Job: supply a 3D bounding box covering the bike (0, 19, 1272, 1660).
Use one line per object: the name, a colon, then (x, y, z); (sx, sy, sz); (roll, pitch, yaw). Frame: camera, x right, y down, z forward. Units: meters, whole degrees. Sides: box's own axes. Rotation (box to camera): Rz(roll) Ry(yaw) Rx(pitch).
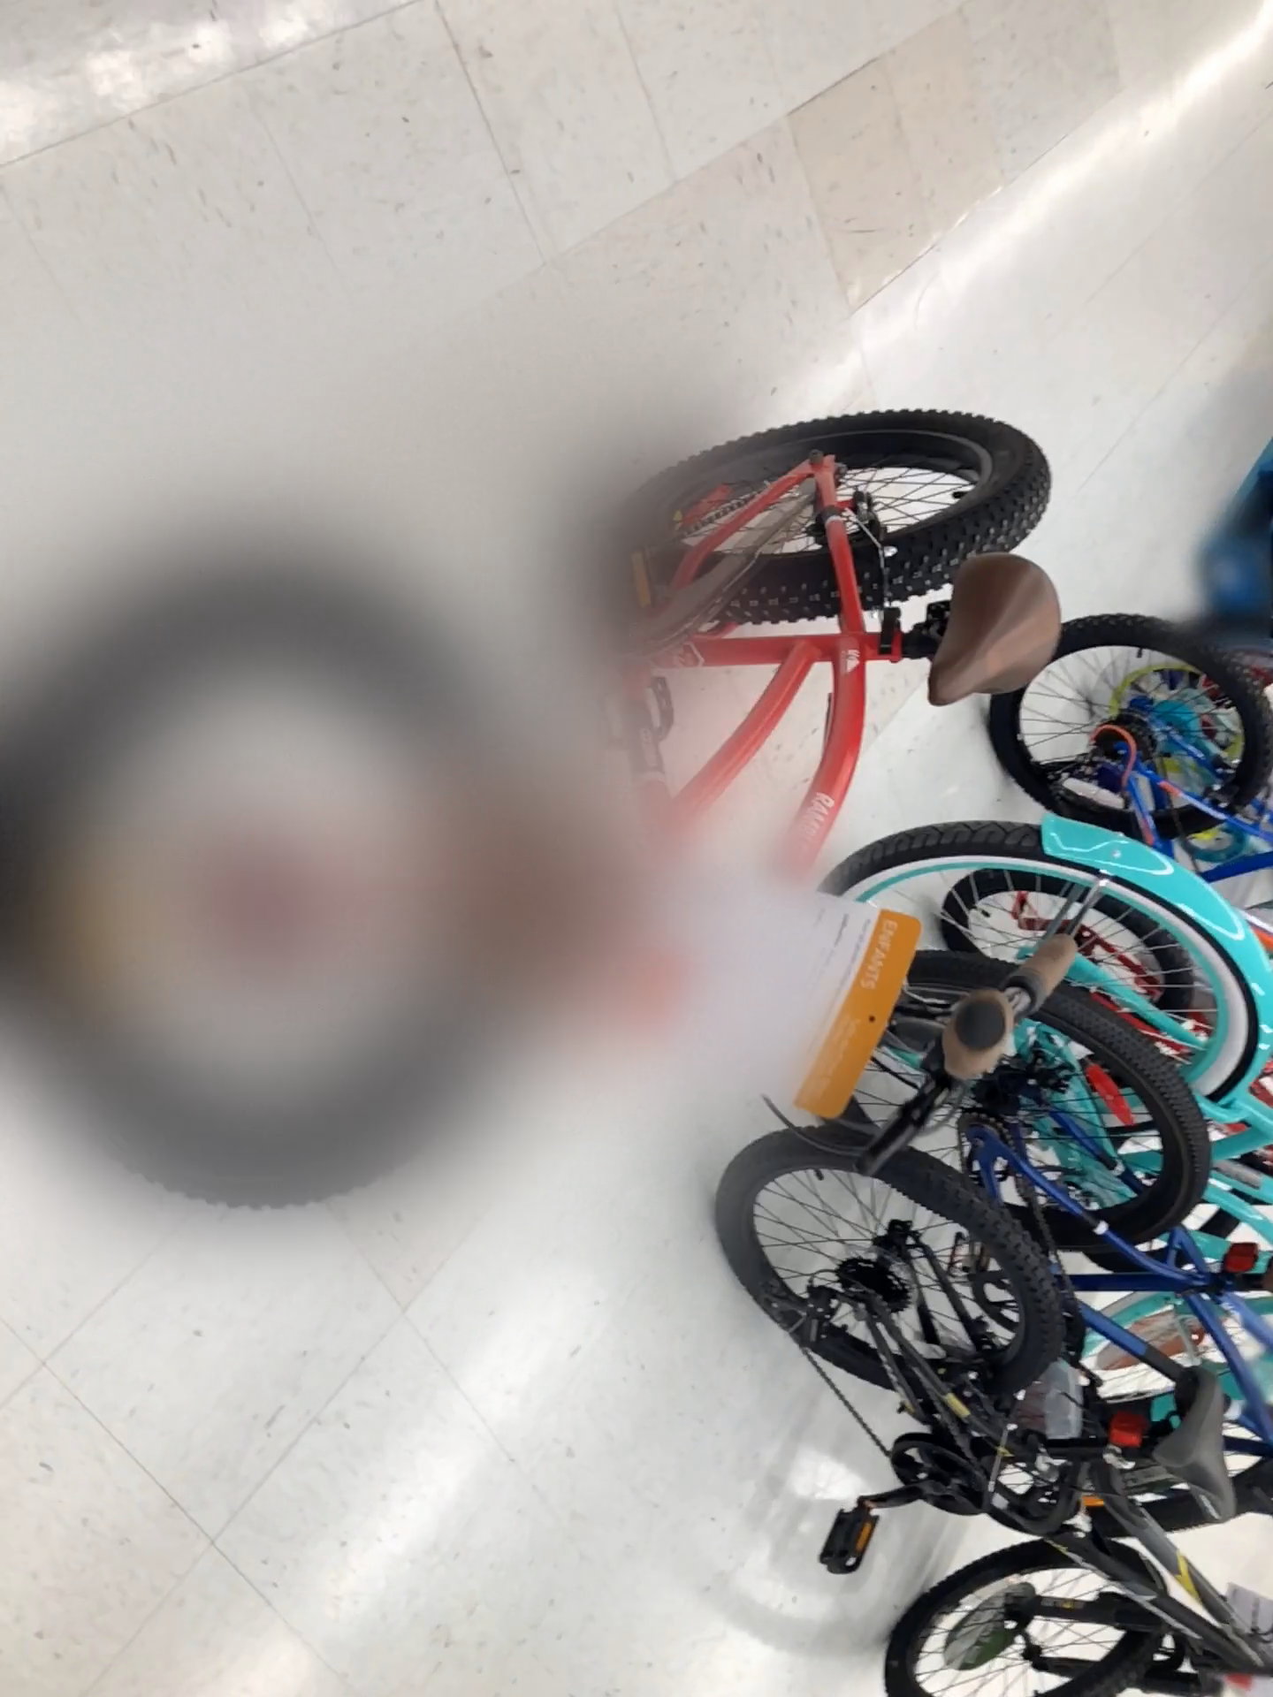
bike: (0.116, -0.145, 1.404); (1.362, 0.967, 0.609); (-46, 124, -32)
